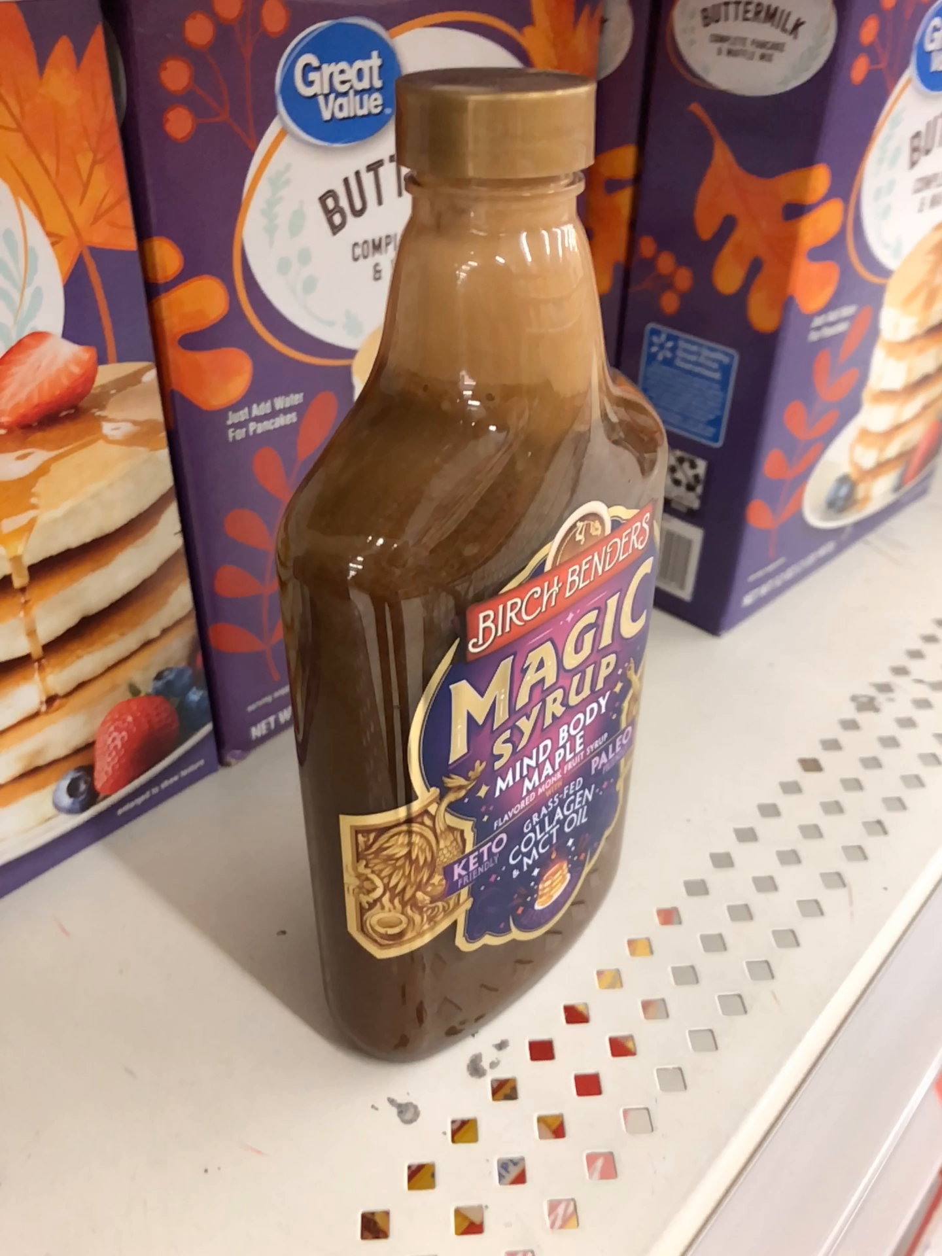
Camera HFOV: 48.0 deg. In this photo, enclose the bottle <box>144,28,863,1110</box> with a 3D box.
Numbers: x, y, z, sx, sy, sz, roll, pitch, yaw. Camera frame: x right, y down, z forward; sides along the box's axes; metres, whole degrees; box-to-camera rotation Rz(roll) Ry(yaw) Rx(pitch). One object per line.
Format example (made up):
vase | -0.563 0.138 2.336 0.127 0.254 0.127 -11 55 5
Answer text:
bottle | 0.008 -0.009 0.204 0.050 0.180 0.100 29 43 35
